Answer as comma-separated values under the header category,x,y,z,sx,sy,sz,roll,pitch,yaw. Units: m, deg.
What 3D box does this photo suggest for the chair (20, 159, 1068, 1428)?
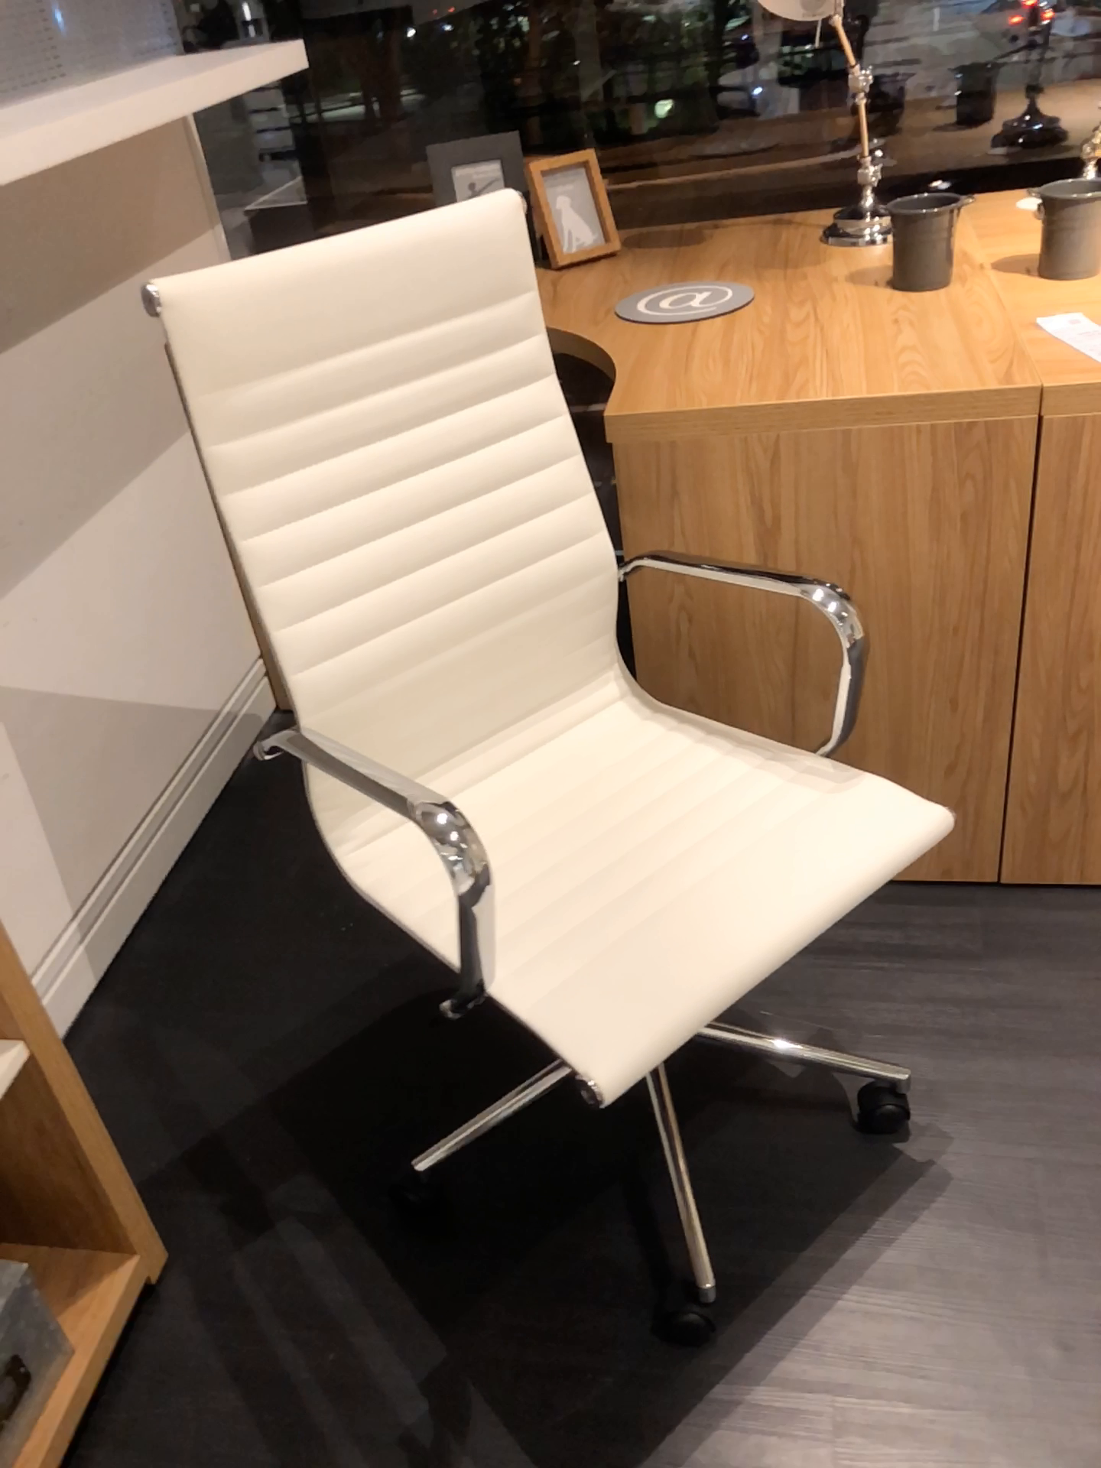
category,x,y,z,sx,sy,sz,roll,pitch,yaw
chair,0.032,0.014,1.289,0.632,1.012,0.633,-30,38,-29
